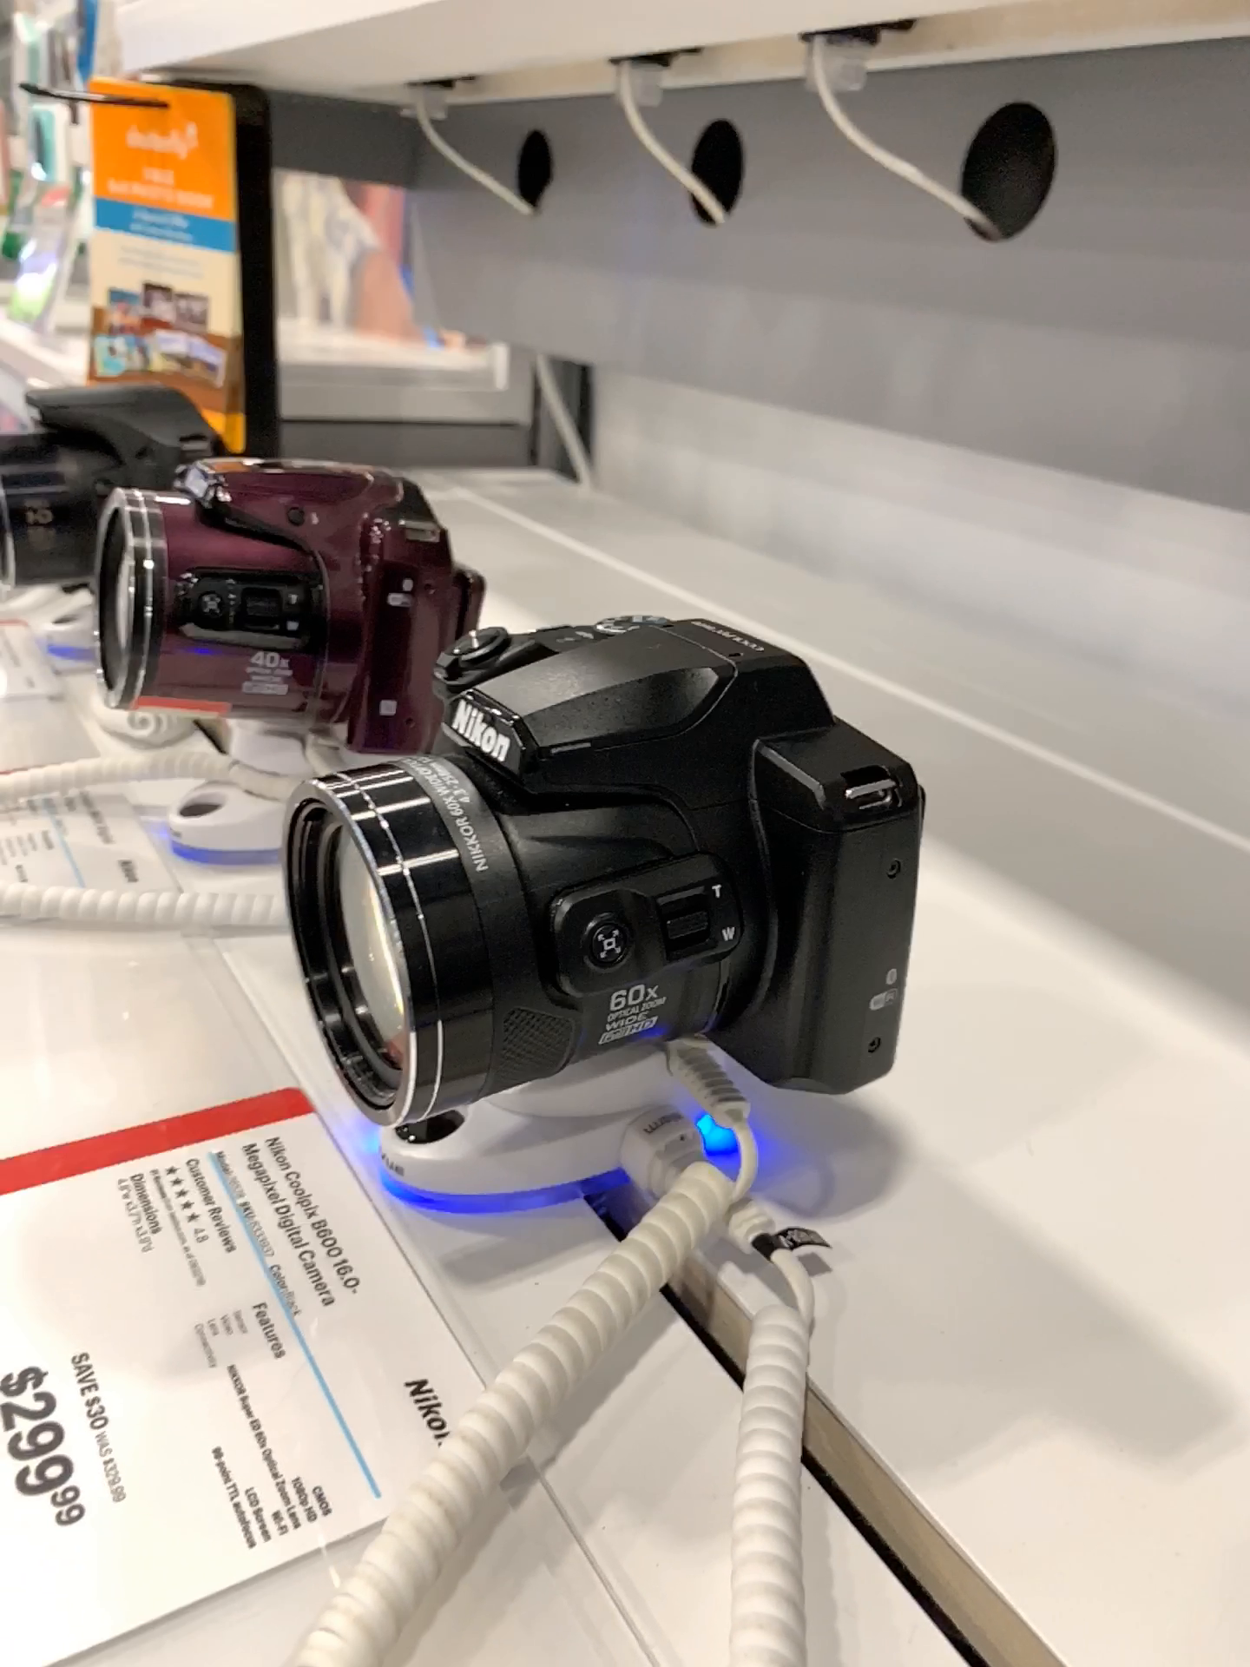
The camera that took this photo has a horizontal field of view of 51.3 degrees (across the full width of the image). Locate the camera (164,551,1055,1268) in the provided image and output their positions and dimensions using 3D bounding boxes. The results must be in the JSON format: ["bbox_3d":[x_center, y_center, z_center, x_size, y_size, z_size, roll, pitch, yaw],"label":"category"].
[{"bbox_3d":[-0.012,-0.003,0.252,0.110,0.070,0.130,-12,28,-33],"label":"camera"}]
